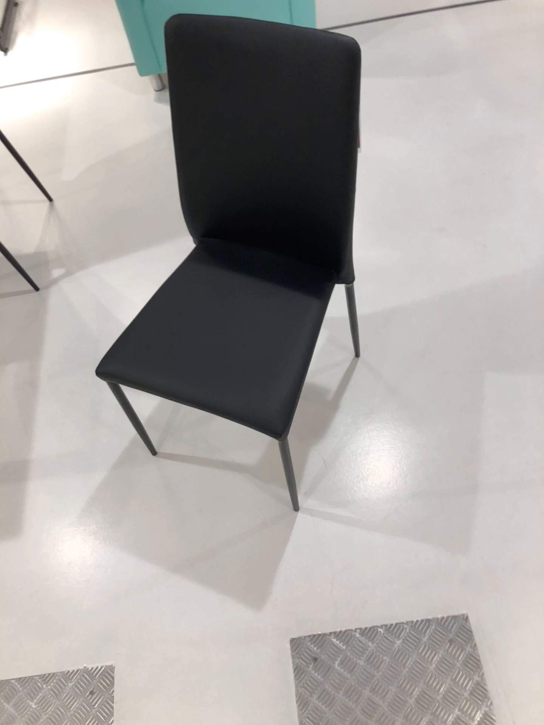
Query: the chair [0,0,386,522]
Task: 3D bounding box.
[{"bbox_3d":[-0.084,-0.148,1.263,0.451,0.866,0.602,16,62,17],"label":"chair"}]
